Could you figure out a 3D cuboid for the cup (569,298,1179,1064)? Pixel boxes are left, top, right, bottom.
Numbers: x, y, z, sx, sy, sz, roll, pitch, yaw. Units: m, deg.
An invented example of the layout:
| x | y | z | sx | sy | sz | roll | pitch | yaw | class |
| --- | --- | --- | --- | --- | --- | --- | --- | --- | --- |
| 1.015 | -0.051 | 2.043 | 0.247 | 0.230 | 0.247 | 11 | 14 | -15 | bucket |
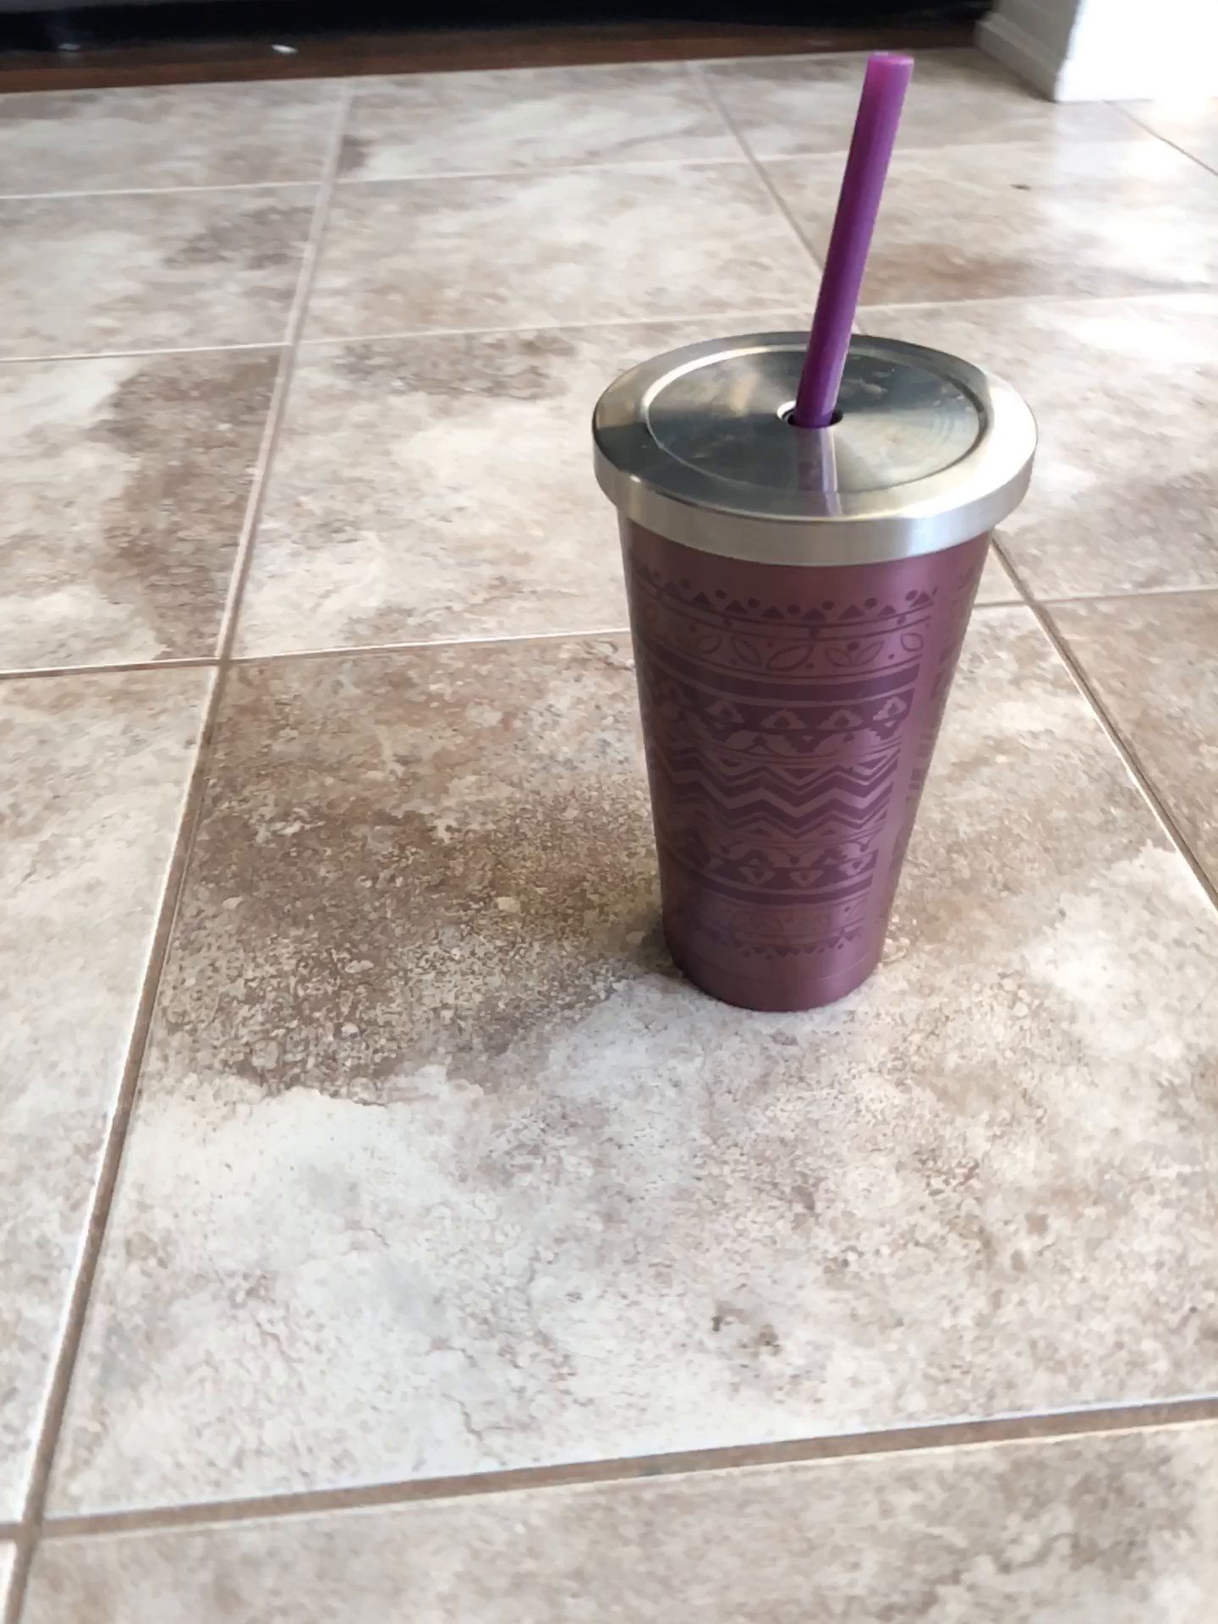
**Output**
| x | y | z | sx | sy | sz | roll | pitch | yaw | class |
| --- | --- | --- | --- | --- | --- | --- | --- | --- | --- |
| 0.057 | -0.035 | 0.370 | 0.111 | 0.165 | 0.103 | -1 | 40 | 1 | cup |
